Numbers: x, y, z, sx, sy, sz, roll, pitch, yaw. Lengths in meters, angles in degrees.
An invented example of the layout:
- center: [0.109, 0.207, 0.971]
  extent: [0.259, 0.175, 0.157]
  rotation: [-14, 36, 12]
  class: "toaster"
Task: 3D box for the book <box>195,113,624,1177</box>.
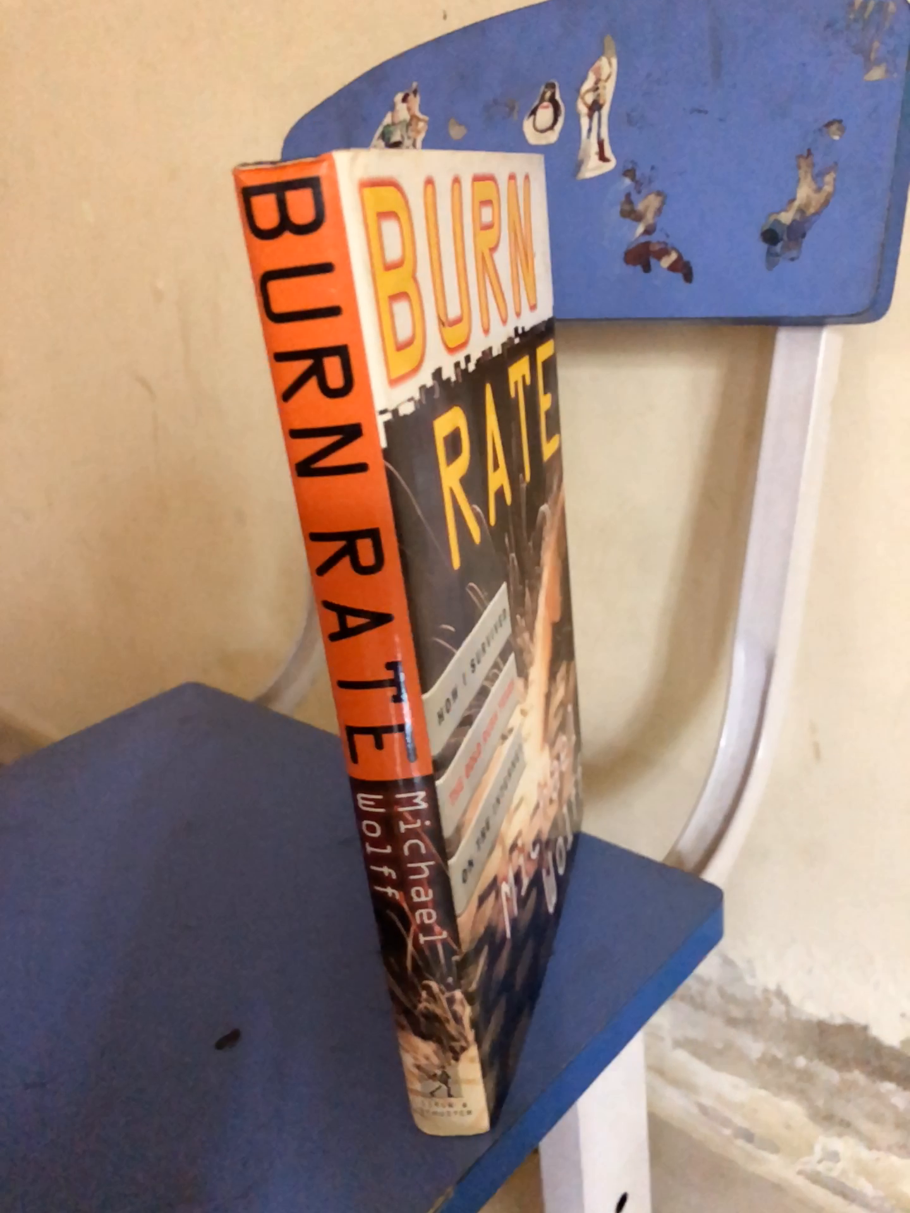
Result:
- center: [0.012, -0.007, 0.308]
  extent: [0.040, 0.239, 0.201]
  rotation: [-1, 20, 17]
  class: "book"
